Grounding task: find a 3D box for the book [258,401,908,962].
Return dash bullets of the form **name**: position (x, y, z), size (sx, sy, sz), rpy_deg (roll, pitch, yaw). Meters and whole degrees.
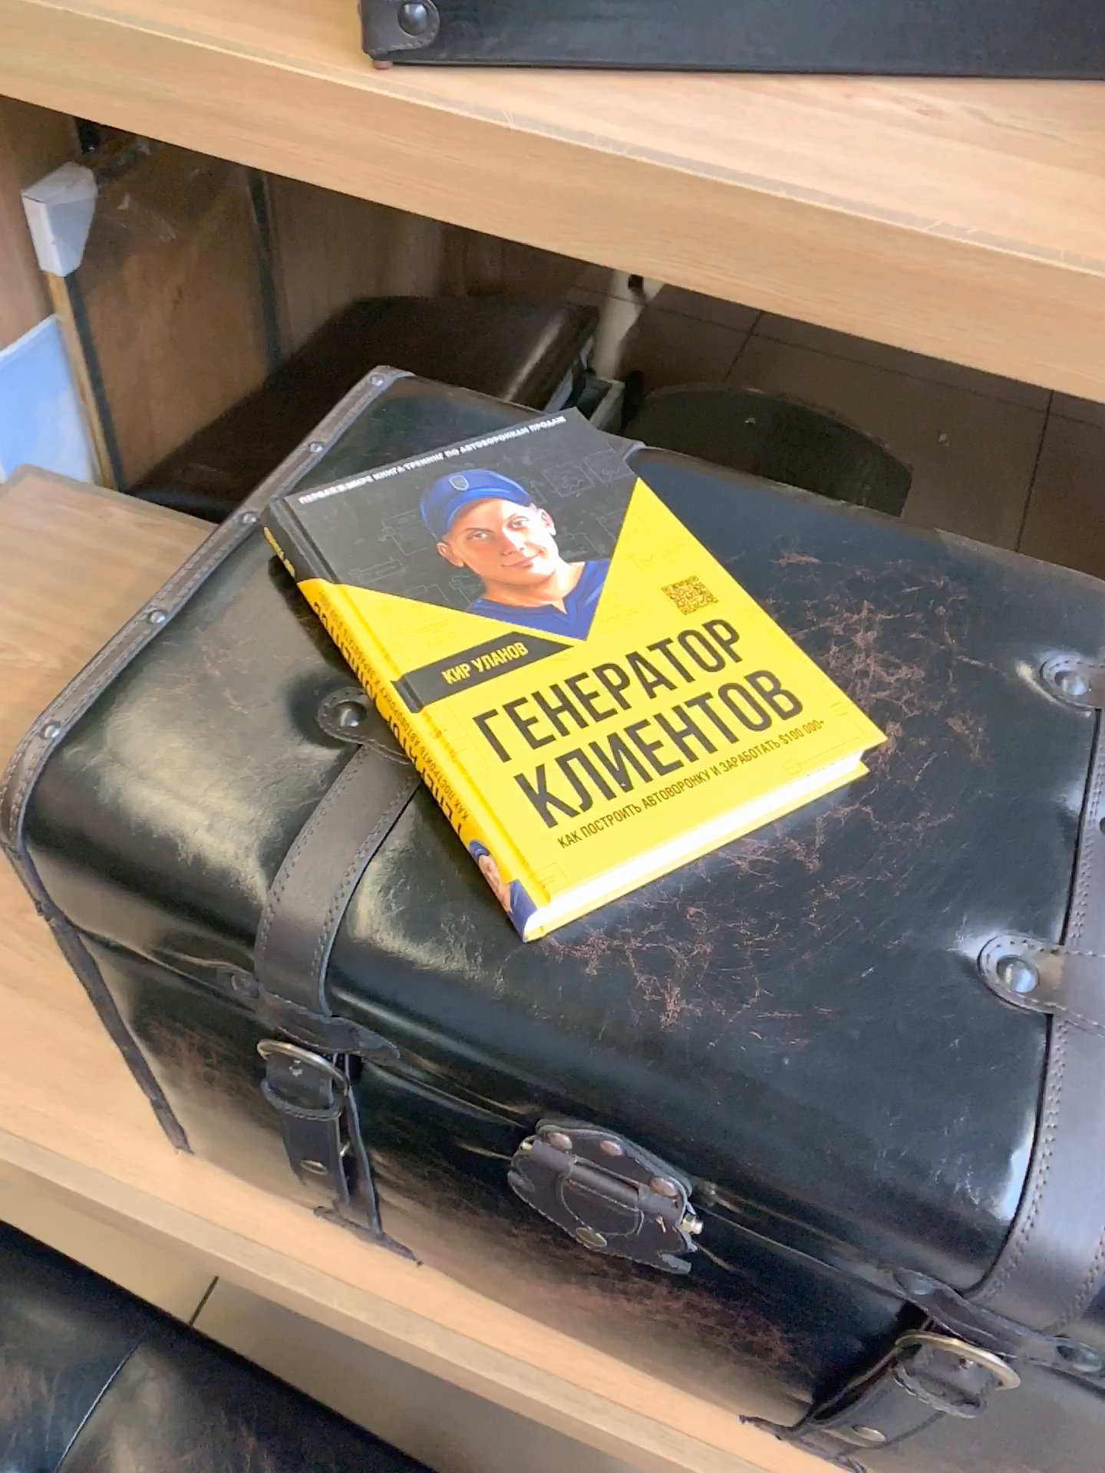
- **book**: position (0.002, -0.044, 0.479), size (0.167, 0.030, 0.243), rpy_deg (-23, 56, -21)
